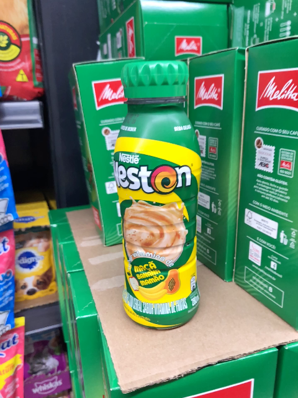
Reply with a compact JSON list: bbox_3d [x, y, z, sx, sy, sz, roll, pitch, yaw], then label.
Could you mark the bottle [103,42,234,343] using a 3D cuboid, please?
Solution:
[{"bbox_3d":[0.016,-0.005,0.232,0.060,0.179,0.060,-1,16,0],"label":"bottle"}]
